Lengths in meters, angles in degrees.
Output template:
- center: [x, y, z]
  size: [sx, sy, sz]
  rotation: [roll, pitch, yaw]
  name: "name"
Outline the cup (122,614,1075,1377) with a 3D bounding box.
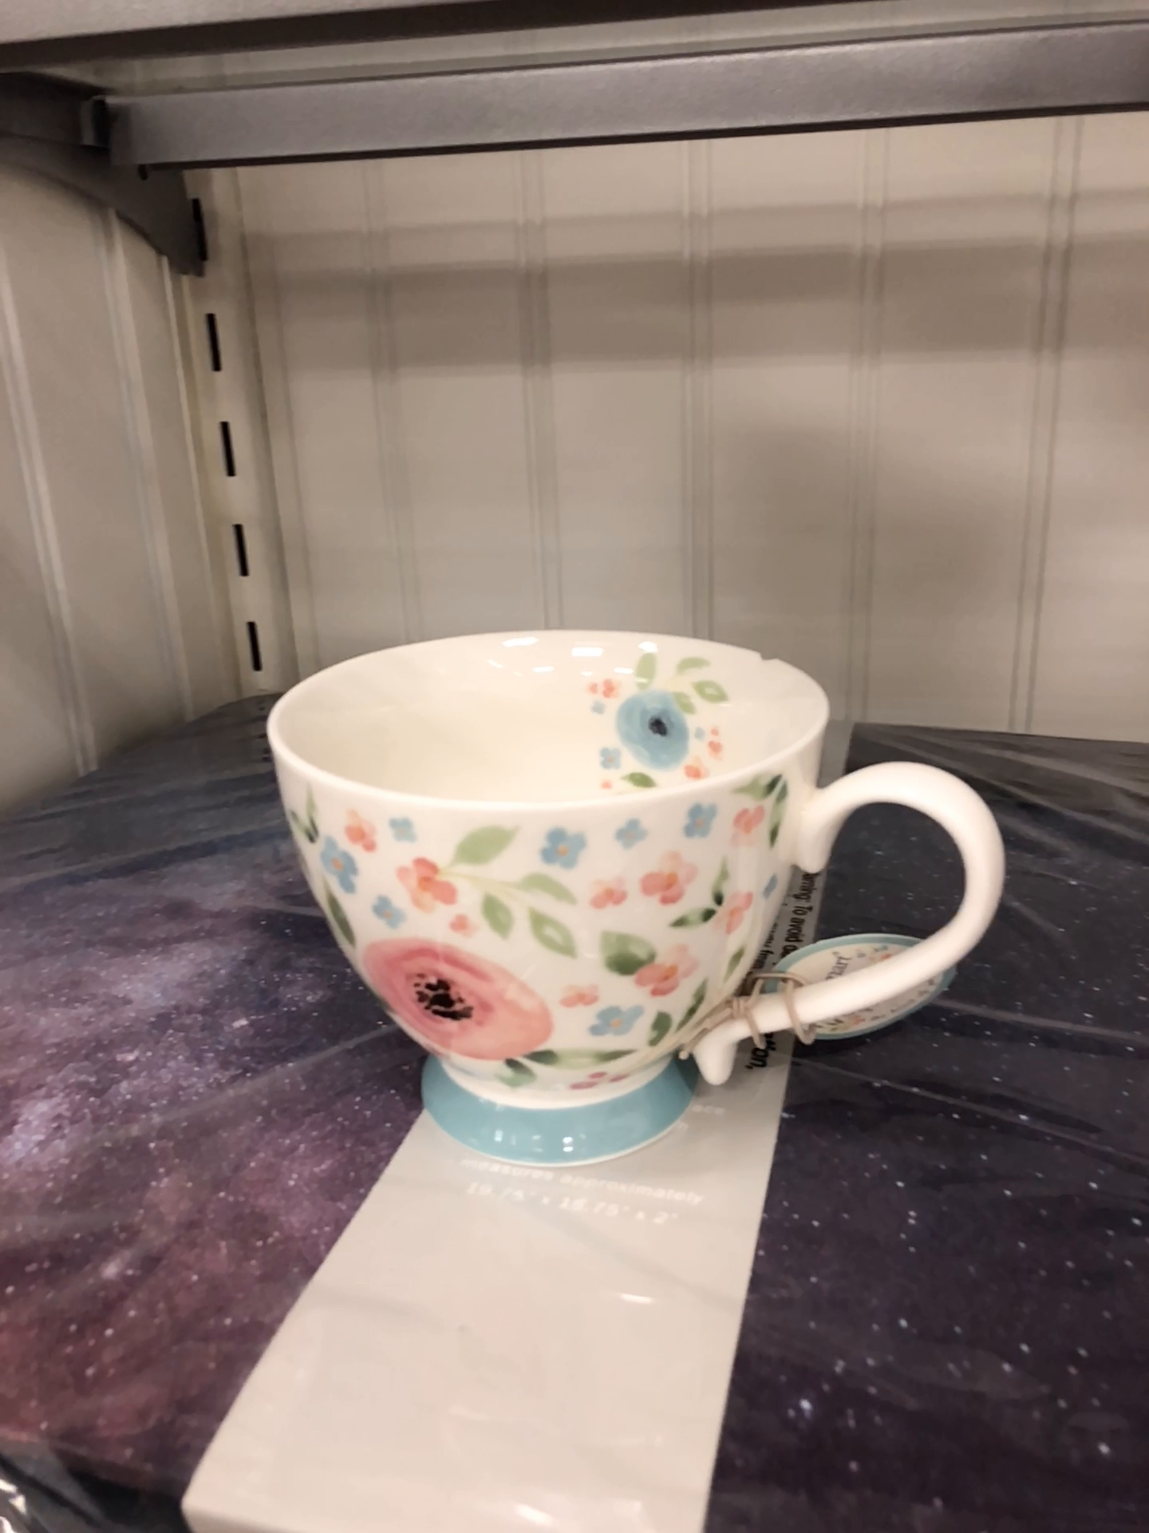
- center: [0.011, 0.027, 0.257]
  size: [0.150, 0.079, 0.111]
  rotation: [8, 23, 26]
  name: "cup"
